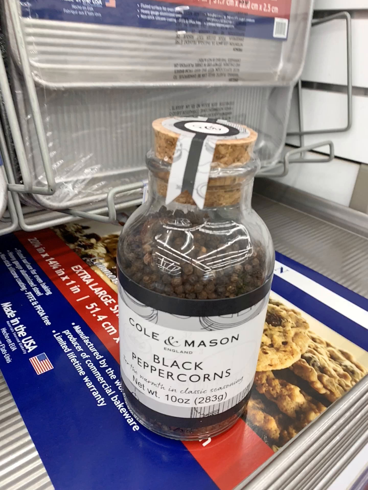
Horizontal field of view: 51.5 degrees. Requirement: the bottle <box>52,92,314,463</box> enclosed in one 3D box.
[{"bbox_3d":[0.005,0.012,0.203,0.090,0.159,0.090,2,28,-1],"label":"bottle"}]
